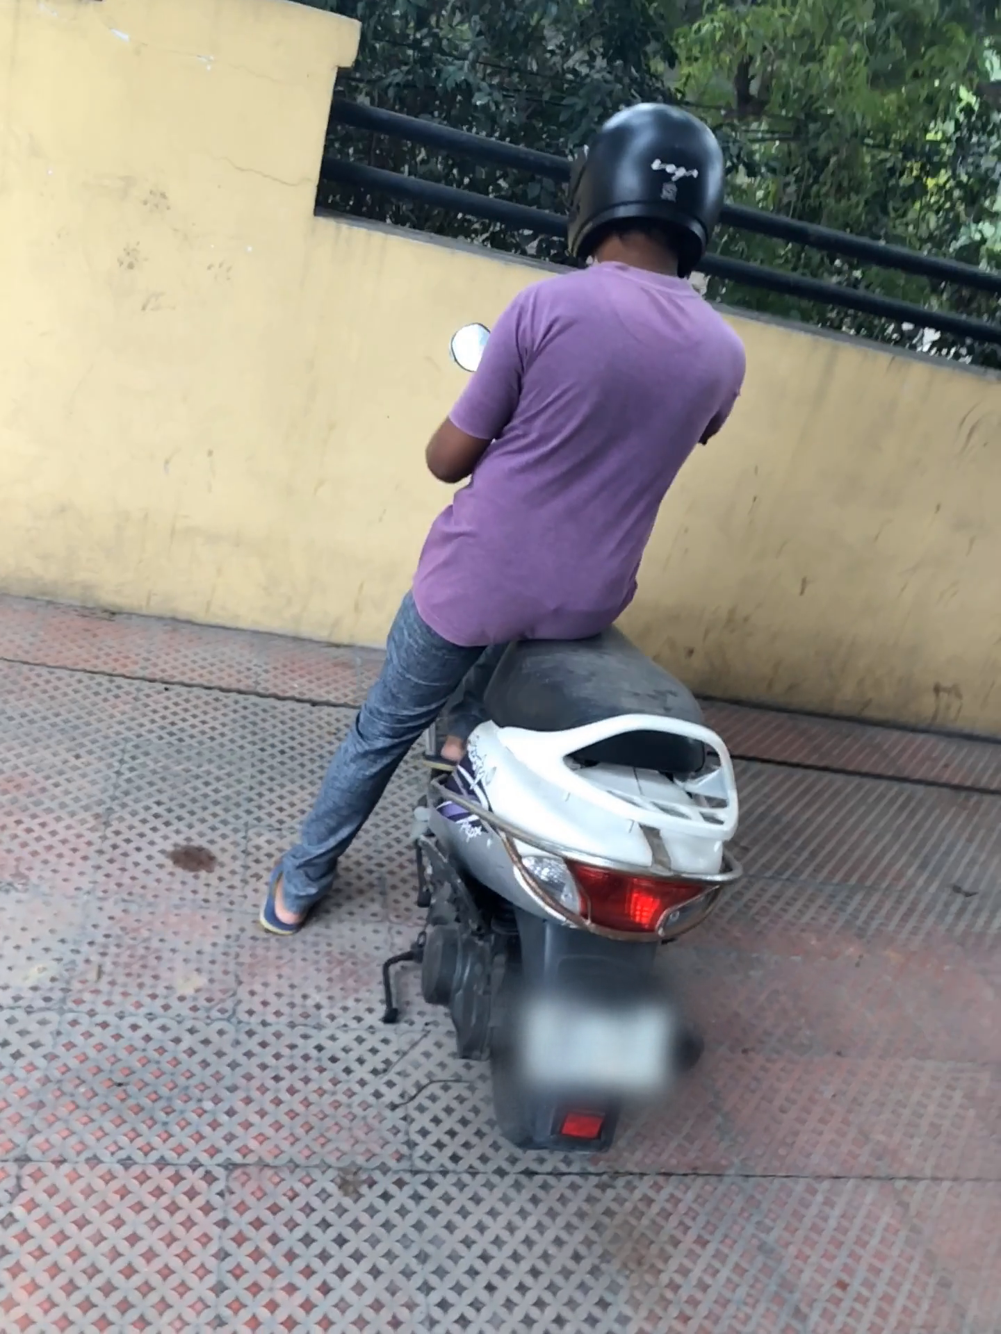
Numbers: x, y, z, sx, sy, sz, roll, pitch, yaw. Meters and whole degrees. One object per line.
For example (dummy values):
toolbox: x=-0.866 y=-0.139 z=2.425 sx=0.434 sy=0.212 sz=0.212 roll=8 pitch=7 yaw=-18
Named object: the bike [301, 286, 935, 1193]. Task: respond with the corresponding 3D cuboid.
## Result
bike: x=0.023 y=-0.013 z=2.170 sx=0.643 sy=0.949 sz=1.509 roll=9 pitch=29 yaw=-13
